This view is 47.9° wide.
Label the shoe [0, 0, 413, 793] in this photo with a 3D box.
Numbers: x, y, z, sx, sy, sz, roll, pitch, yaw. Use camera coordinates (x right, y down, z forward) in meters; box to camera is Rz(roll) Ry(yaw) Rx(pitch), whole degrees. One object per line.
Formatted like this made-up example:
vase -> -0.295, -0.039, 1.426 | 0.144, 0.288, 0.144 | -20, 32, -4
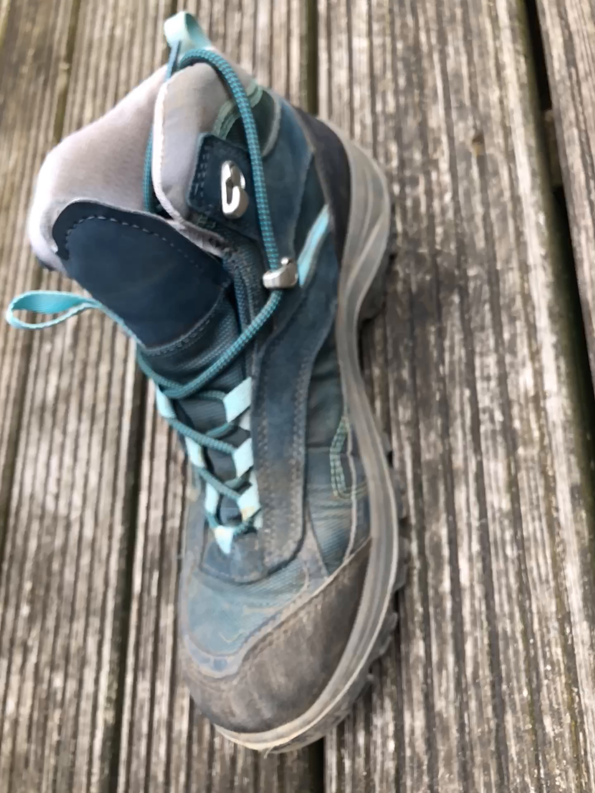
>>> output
shoe -> -0.037, -0.005, 0.275 | 0.120, 0.120, 0.280 | -10, 69, 34
